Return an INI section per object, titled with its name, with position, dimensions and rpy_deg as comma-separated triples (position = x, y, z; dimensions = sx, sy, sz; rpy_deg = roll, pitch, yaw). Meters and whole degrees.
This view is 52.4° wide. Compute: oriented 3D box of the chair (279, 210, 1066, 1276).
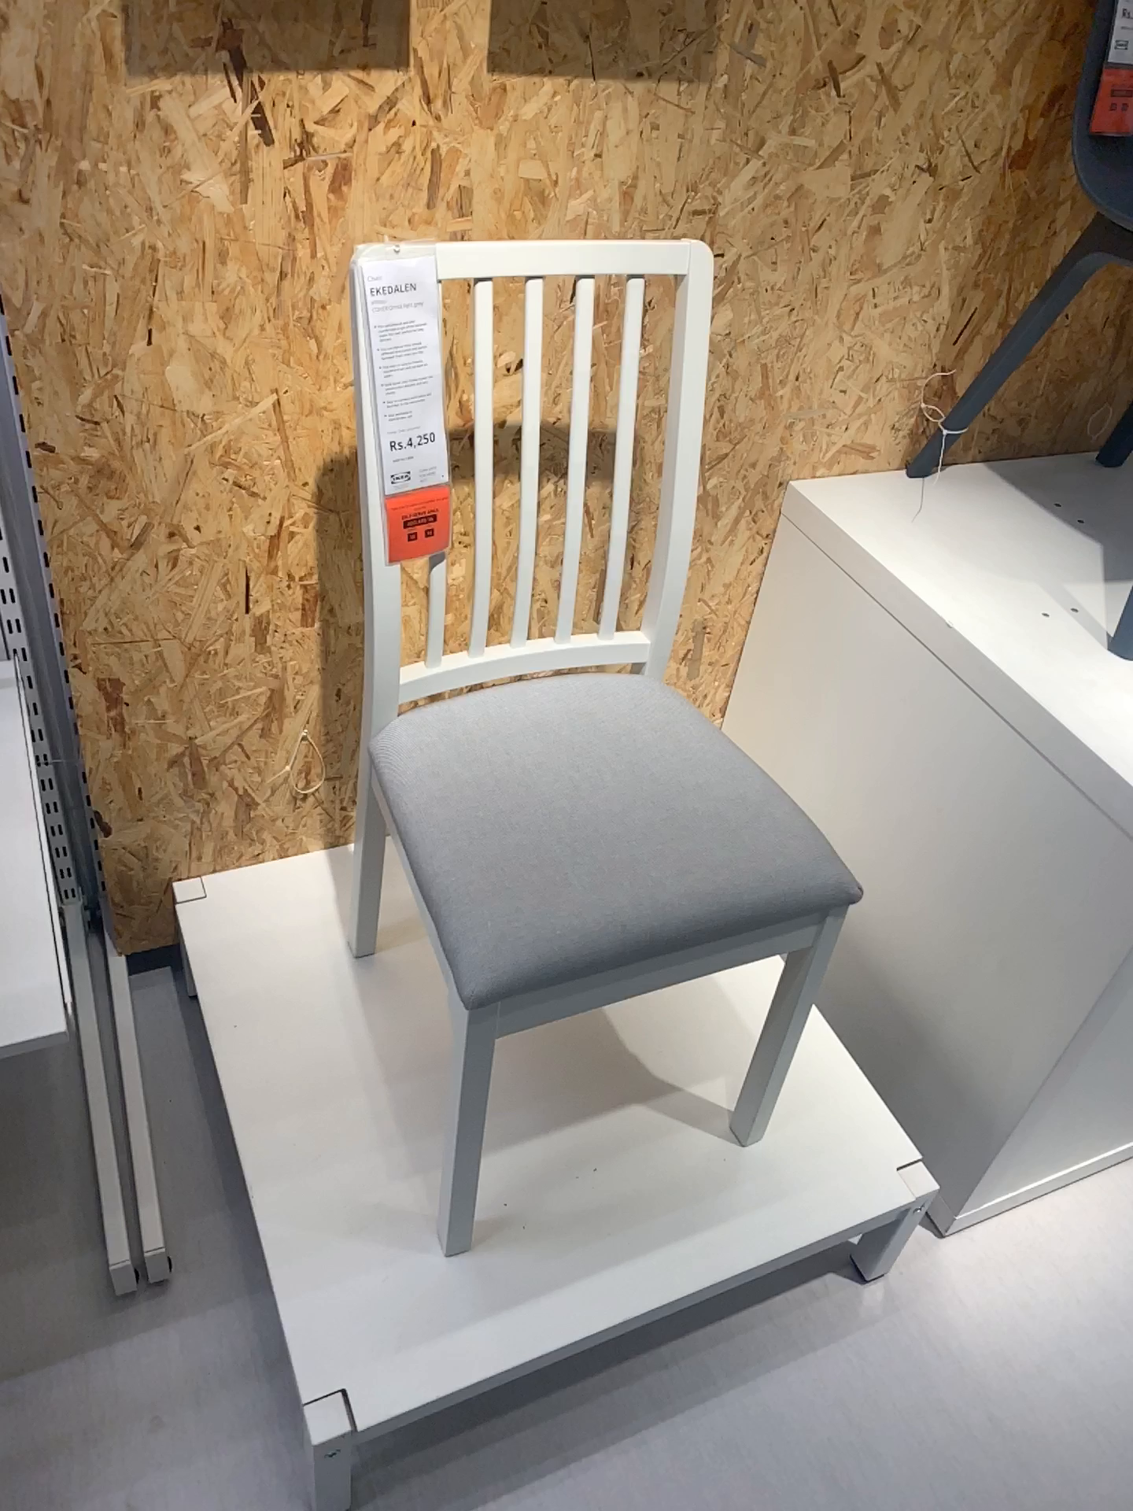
[chair]
position = -0.003, 0.012, 1.212
dimensions = 0.451, 0.956, 0.491
rpy_deg = -11, 43, -23
